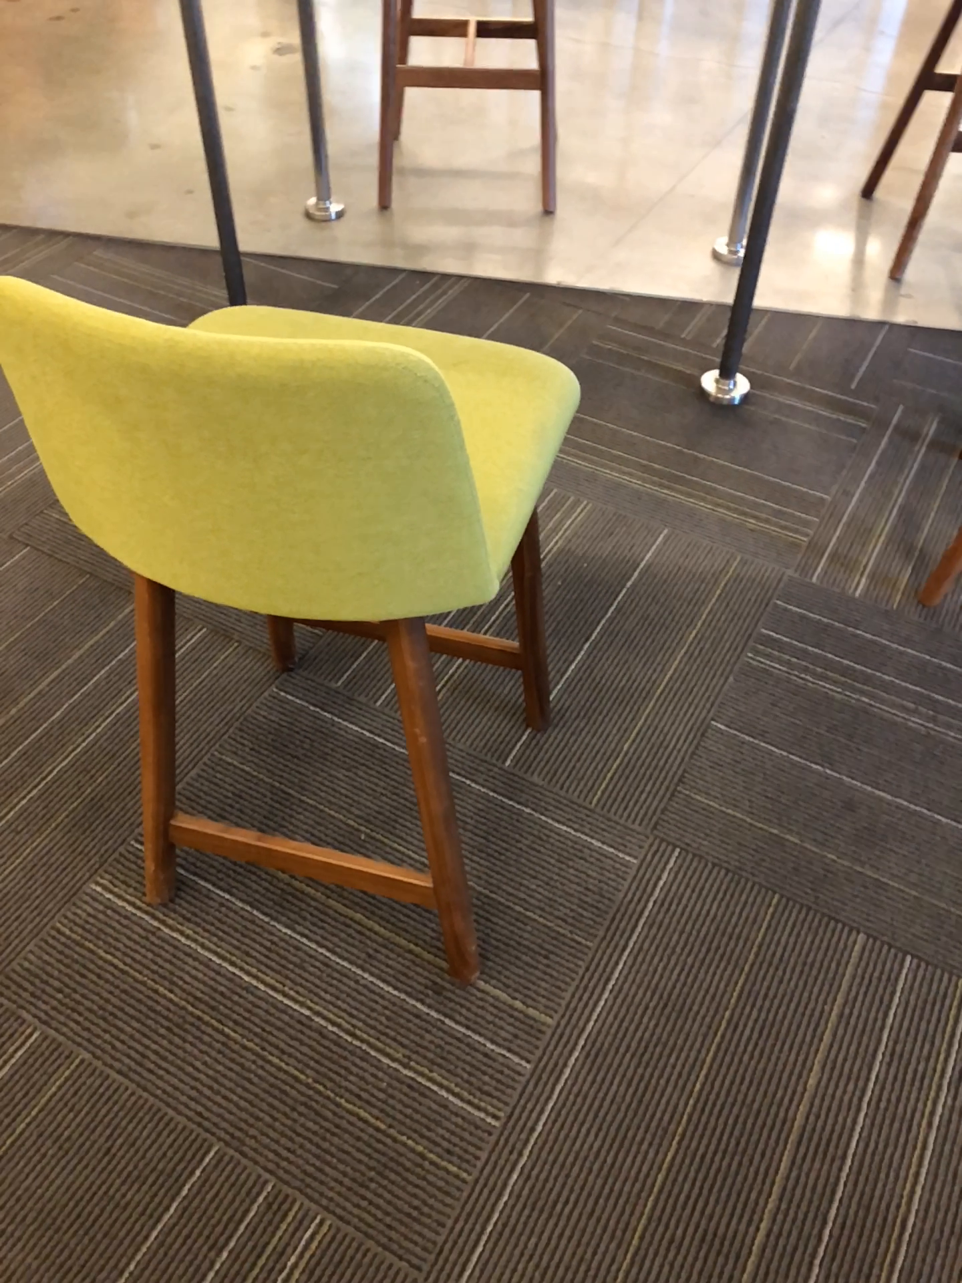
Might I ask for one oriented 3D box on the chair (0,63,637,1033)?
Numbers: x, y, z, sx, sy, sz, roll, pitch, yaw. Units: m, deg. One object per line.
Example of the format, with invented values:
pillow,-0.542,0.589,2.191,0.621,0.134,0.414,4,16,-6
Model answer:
chair,-0.149,-0.057,1.174,0.460,0.876,0.512,12,47,10
